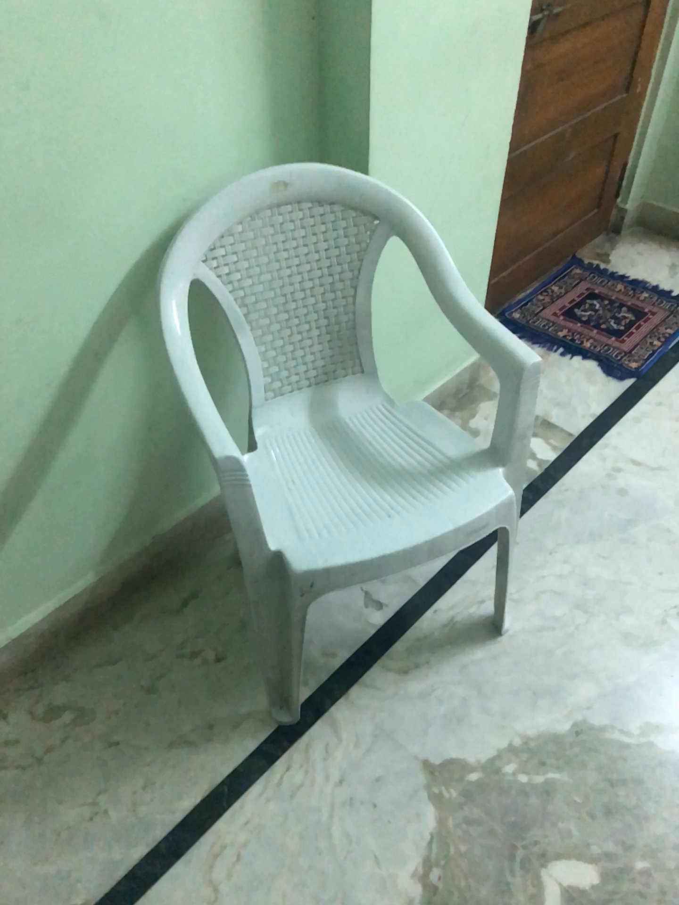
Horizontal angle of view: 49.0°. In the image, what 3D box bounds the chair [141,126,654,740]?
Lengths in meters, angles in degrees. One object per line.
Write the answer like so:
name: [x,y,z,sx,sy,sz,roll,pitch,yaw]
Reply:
chair: [0.045,-0.022,1.308,0.531,0.824,0.533,-16,45,-16]
